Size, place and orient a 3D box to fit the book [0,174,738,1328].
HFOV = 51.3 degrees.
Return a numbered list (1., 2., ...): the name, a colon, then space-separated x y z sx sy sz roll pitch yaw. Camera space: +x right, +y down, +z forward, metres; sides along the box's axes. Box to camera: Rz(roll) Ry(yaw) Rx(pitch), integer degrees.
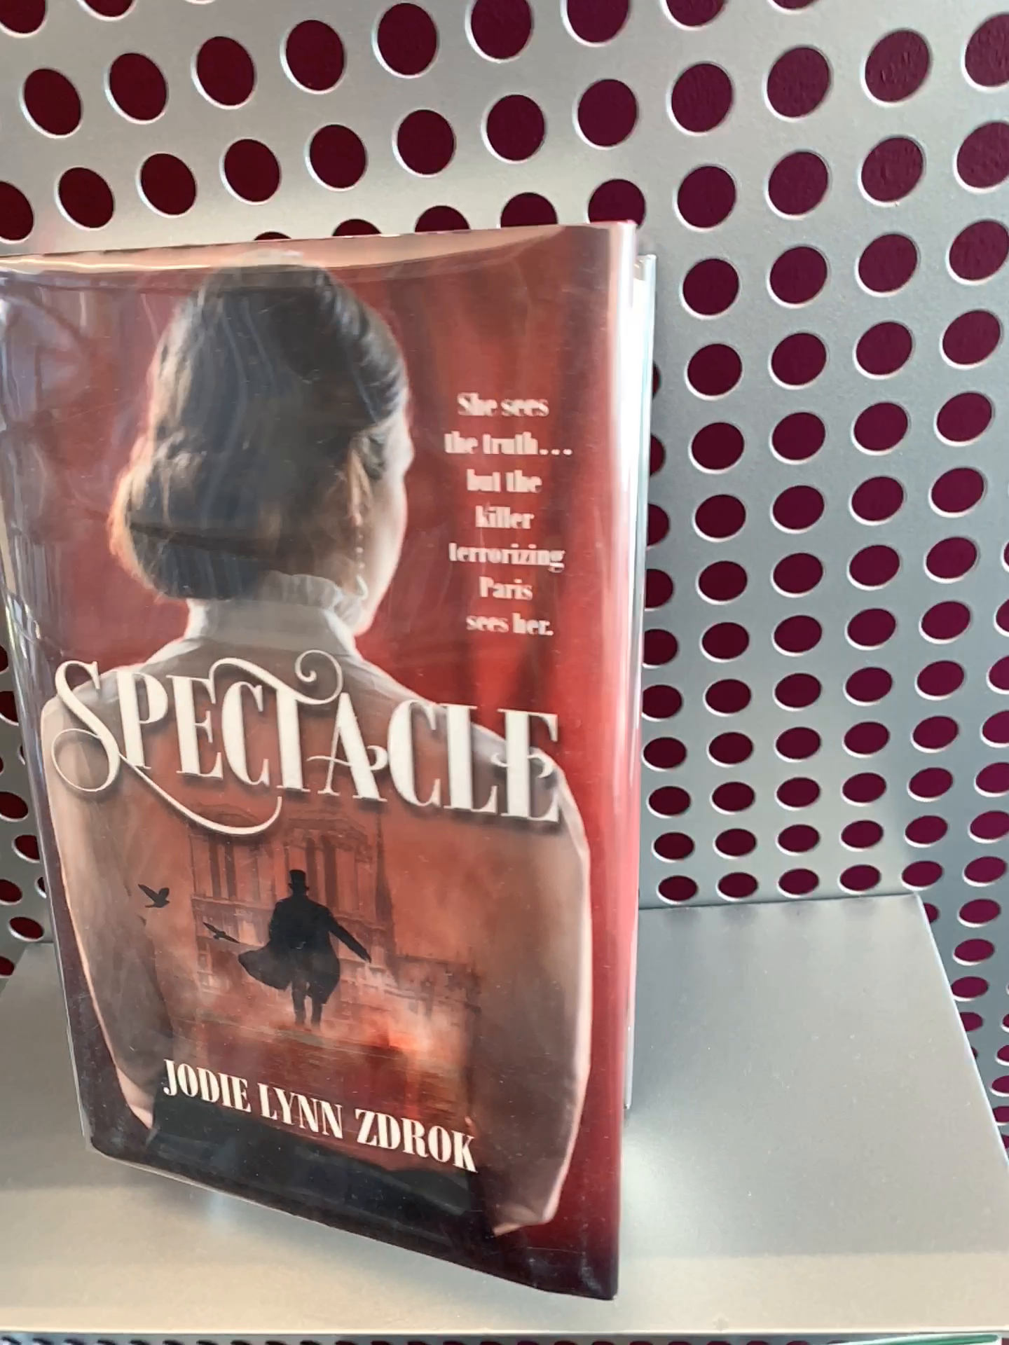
1. book: -0.033 0.016 0.234 0.153 0.212 0.059 4 18 22
